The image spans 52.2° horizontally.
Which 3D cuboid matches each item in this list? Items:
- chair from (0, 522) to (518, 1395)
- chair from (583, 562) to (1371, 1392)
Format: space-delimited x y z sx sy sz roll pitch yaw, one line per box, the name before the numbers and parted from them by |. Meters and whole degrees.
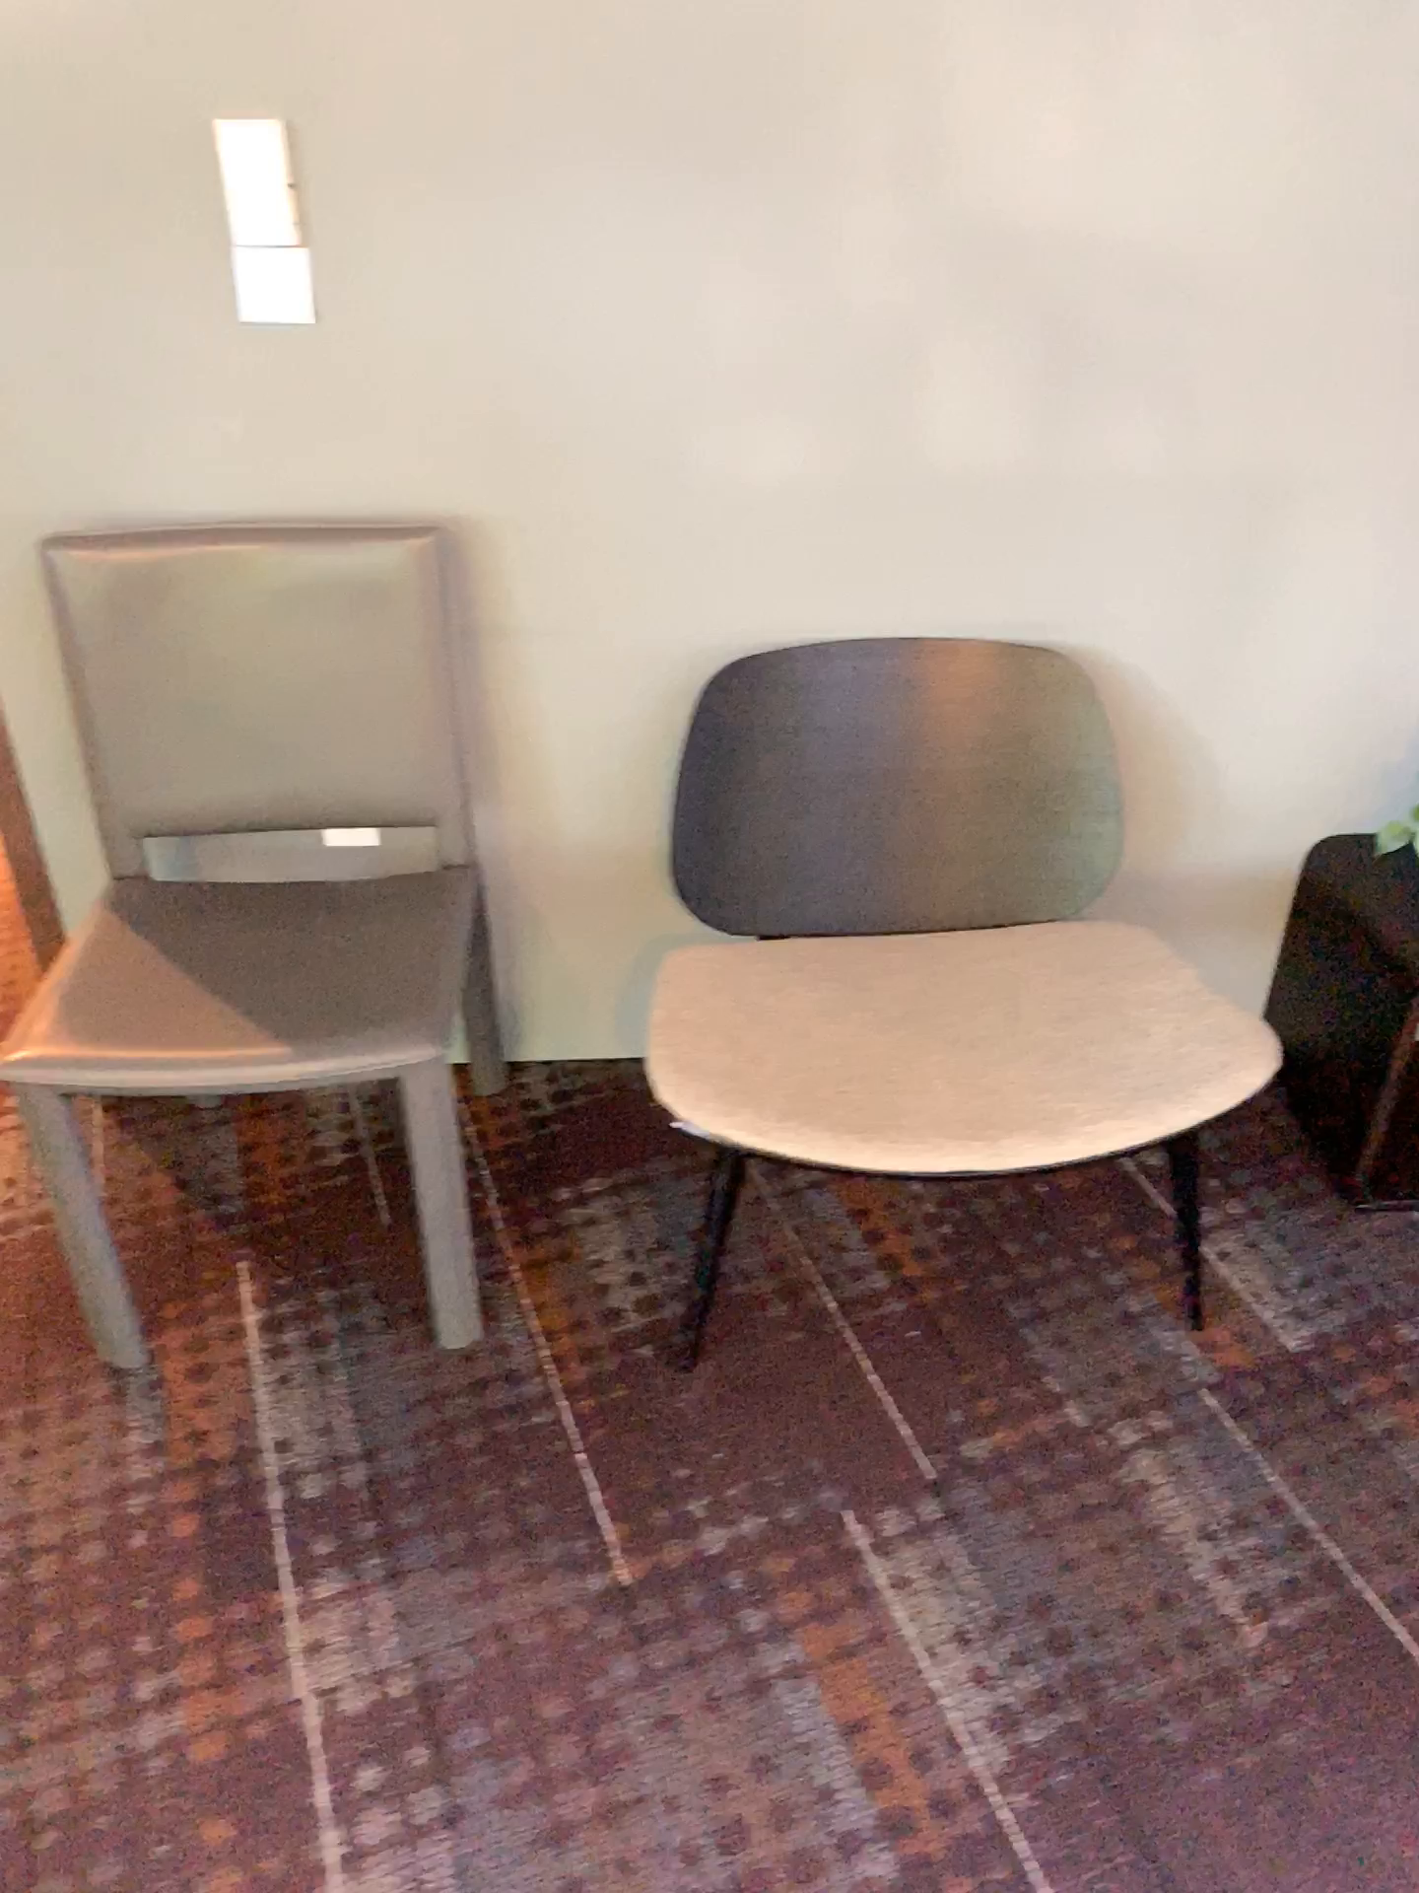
chair | -0.599 -0.011 1.853 0.640 0.835 0.694 -3 33 -5
chair | 0.253 0.013 1.987 0.790 0.835 0.714 -3 33 -5
